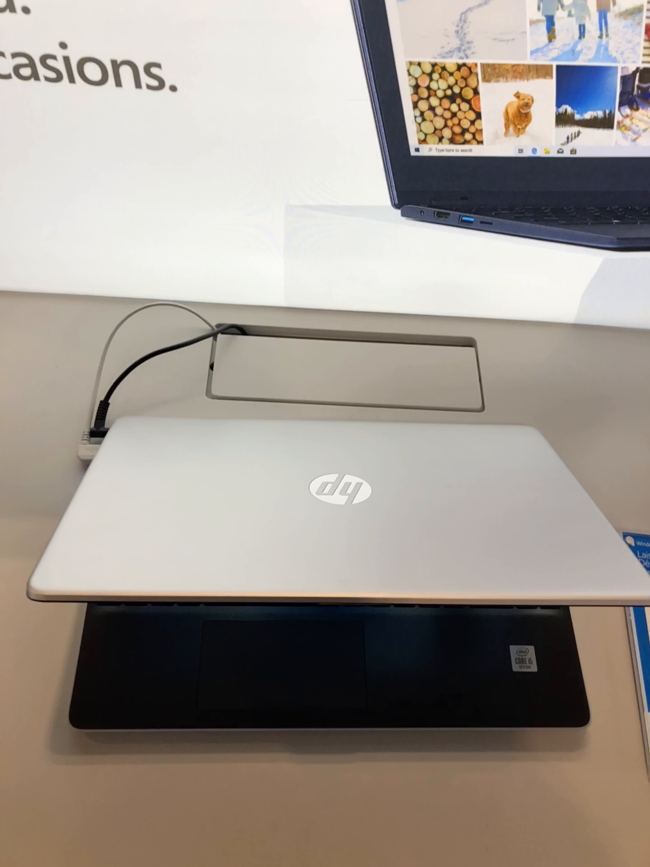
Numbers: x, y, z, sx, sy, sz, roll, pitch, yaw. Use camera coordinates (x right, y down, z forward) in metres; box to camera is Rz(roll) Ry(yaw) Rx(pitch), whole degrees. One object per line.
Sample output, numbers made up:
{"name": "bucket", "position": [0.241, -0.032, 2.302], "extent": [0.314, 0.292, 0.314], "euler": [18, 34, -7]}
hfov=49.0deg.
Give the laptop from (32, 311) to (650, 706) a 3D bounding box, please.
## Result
{"name": "laptop", "position": [0.015, 0.052, 0.491], "extent": [0.345, 0.132, 0.230], "euler": [1, 58, -3]}
